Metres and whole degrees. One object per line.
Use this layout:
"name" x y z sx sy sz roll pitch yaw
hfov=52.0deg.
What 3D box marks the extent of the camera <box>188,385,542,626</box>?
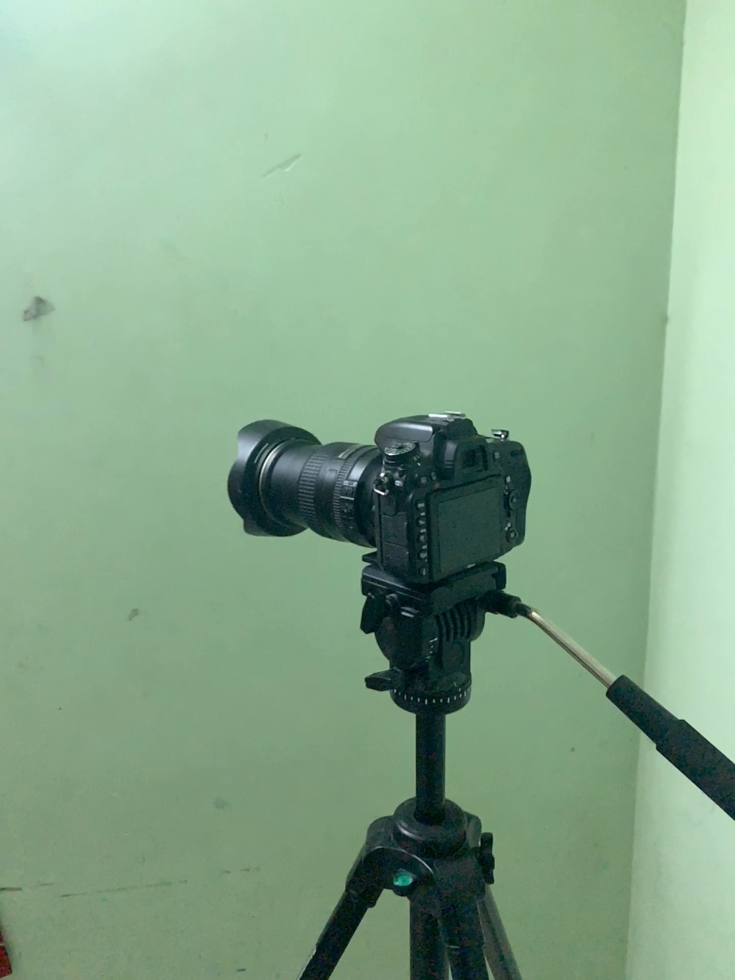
"camera" -0.009 -0.008 0.631 0.163 0.132 0.251 -13 18 -41
